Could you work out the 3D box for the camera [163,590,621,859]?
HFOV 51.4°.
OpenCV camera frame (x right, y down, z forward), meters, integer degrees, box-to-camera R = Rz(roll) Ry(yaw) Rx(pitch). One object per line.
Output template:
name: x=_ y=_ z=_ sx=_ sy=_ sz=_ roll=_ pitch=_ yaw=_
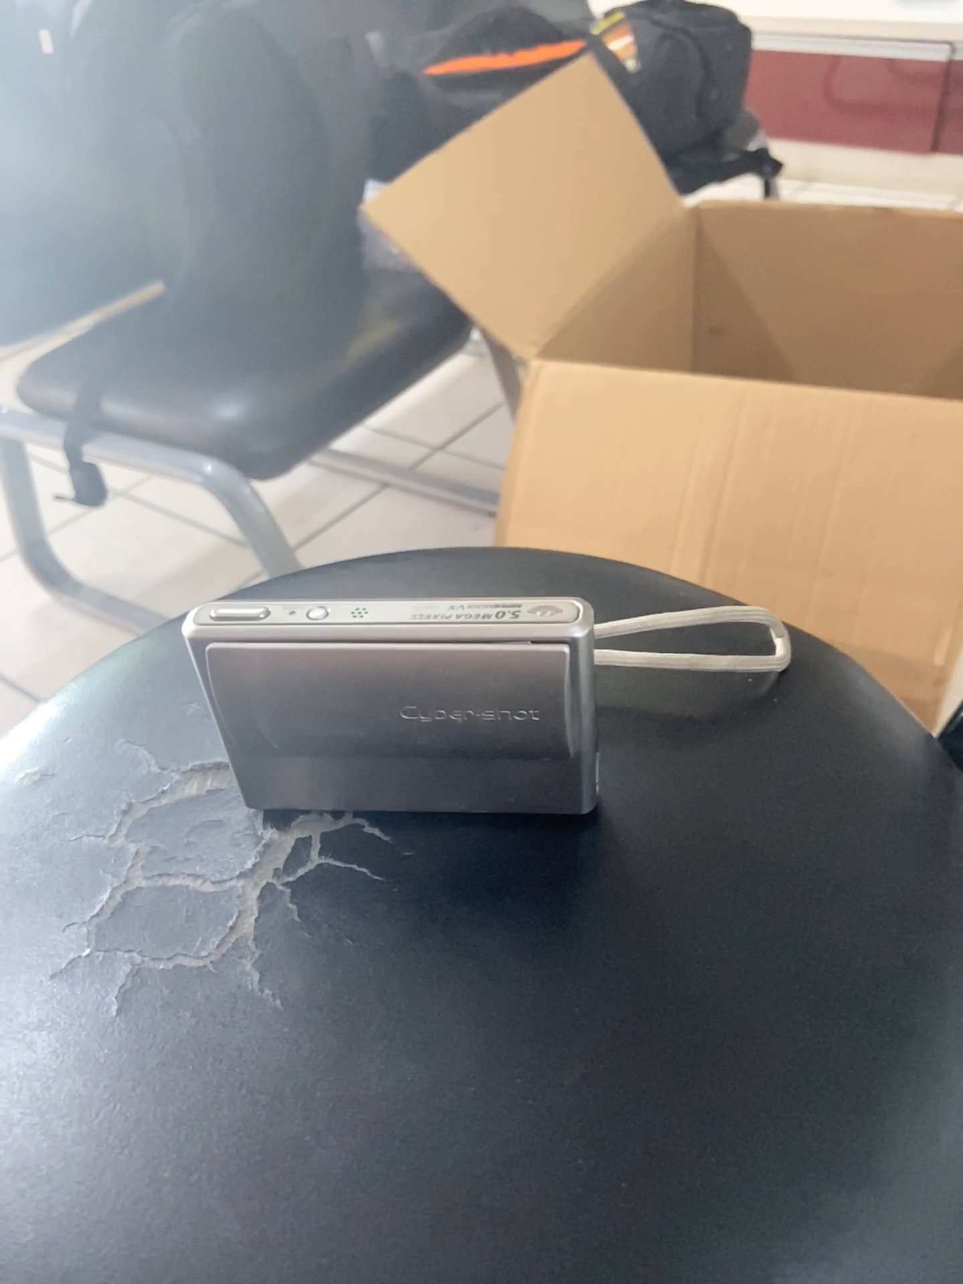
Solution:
camera: x=-0.017 y=0.022 z=0.245 sx=0.100 sy=0.060 sz=0.030 roll=-1 pitch=39 yaw=7
